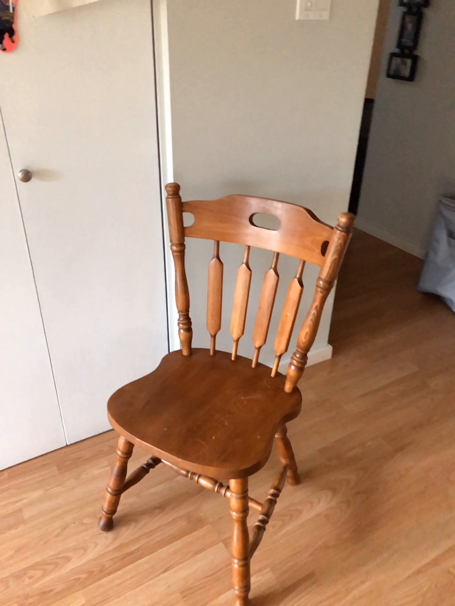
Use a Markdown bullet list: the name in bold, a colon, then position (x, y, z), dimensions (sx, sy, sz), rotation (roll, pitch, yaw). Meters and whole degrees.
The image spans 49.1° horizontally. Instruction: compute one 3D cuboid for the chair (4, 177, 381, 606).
- **chair**: position (-0.045, 0.203, 1.260), dimensions (0.560, 0.817, 0.592), rotation (17, 34, 25)
